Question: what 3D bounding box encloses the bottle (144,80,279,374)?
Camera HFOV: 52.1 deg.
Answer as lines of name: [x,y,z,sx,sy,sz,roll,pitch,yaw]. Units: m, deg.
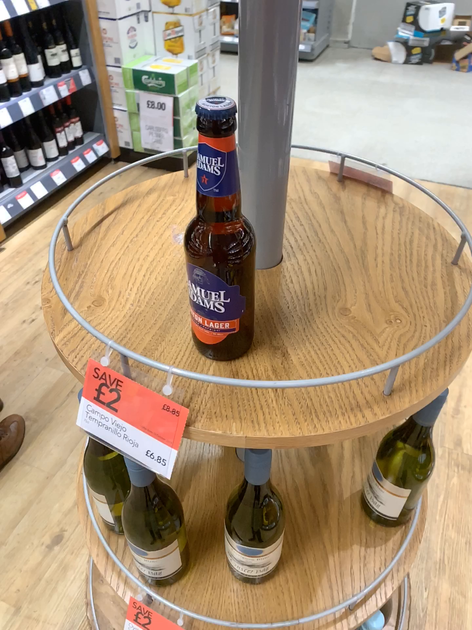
bottle: [-0.015,-0.057,0.377,0.063,0.211,0.061,0,42,0]
